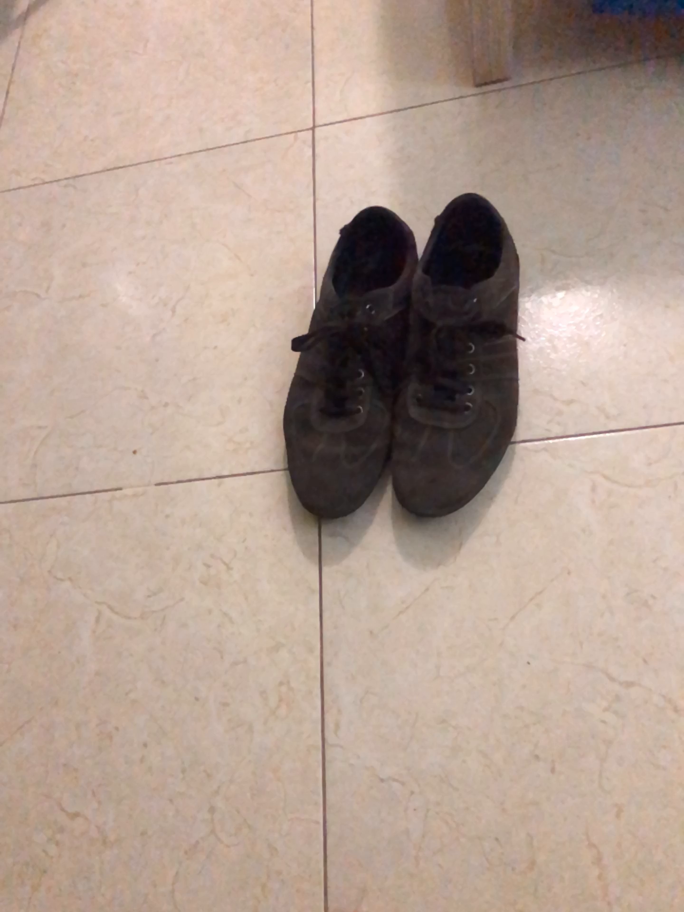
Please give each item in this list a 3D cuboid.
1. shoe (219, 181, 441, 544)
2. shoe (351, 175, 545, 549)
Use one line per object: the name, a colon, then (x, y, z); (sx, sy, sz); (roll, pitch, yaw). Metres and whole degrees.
shoe: (0.003, -0.088, 0.671); (0.120, 0.110, 0.300); (5, 66, 16)
shoe: (0.102, -0.086, 0.650); (0.110, 0.110, 0.300); (6, 66, 17)
